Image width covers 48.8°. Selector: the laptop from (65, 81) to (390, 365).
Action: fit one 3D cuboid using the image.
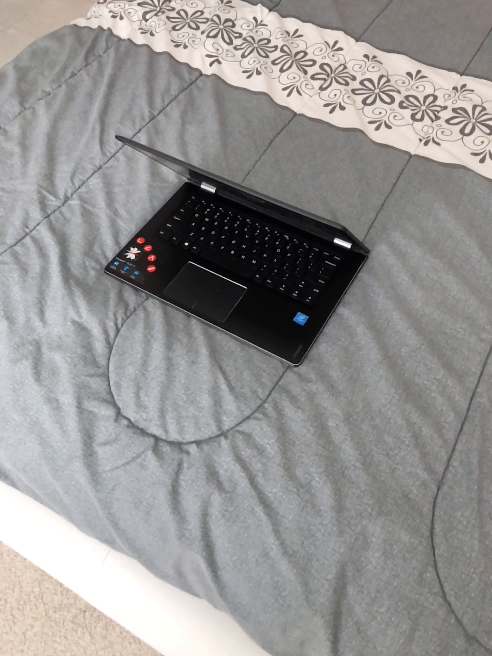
[{"bbox_3d":[-0.016,-0.141,0.692,0.305,0.168,0.215,26,60,17],"label":"laptop"}]
